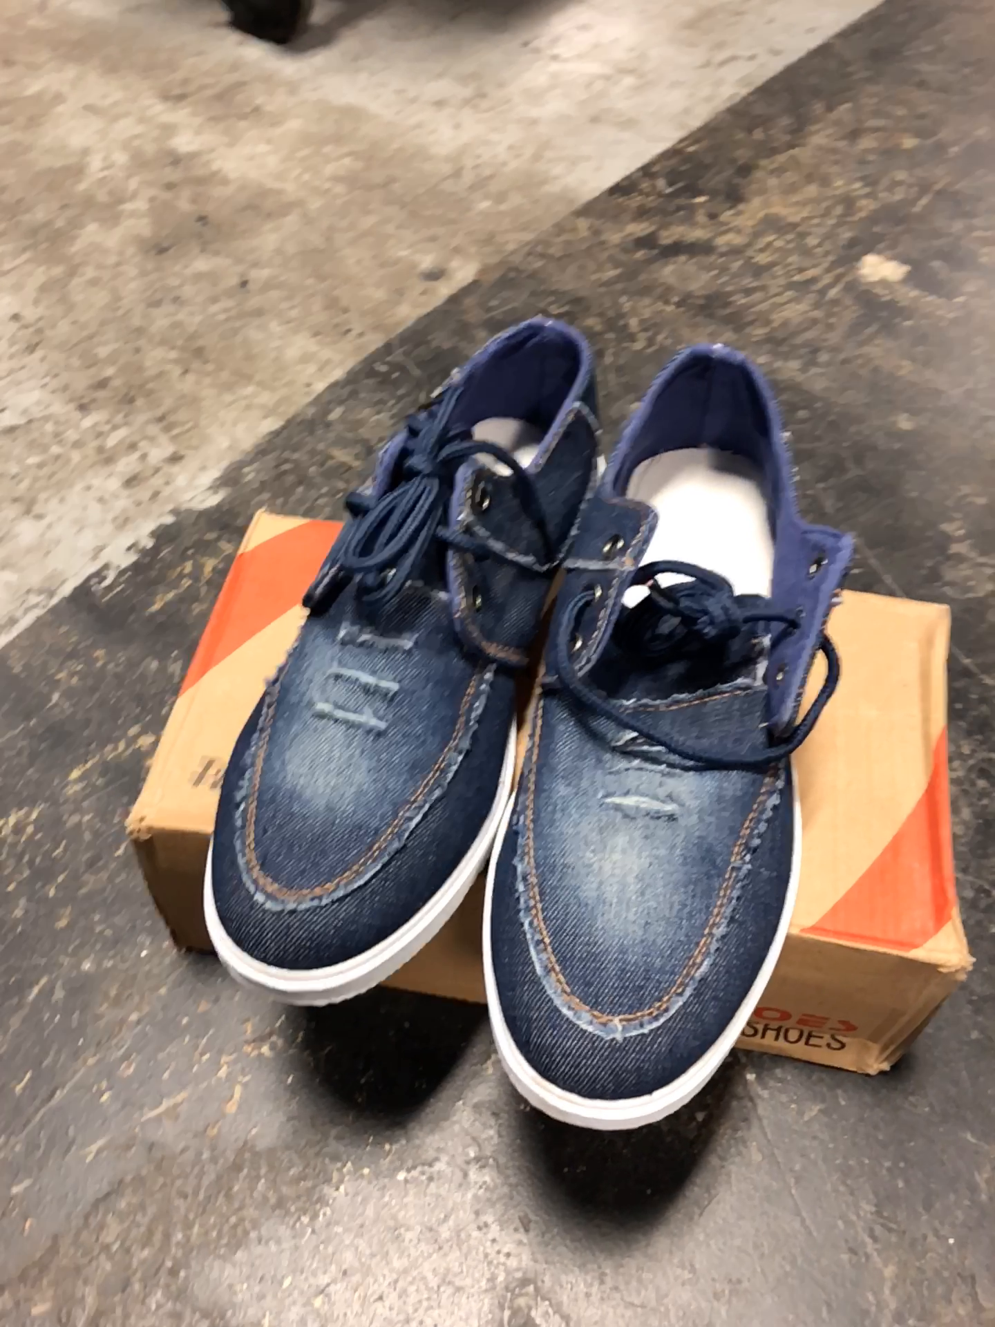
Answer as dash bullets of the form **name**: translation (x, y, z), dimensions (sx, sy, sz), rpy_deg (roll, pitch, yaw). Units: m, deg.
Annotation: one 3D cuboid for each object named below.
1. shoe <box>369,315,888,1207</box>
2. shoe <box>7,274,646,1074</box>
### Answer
- **shoe**: translation (0.055, 0.009, 0.355), dimensions (0.100, 0.079, 0.272), rpy_deg (13, 54, 9)
- **shoe**: translation (-0.033, -0.014, 0.360), dimensions (0.090, 0.079, 0.252), rpy_deg (17, 54, 12)
